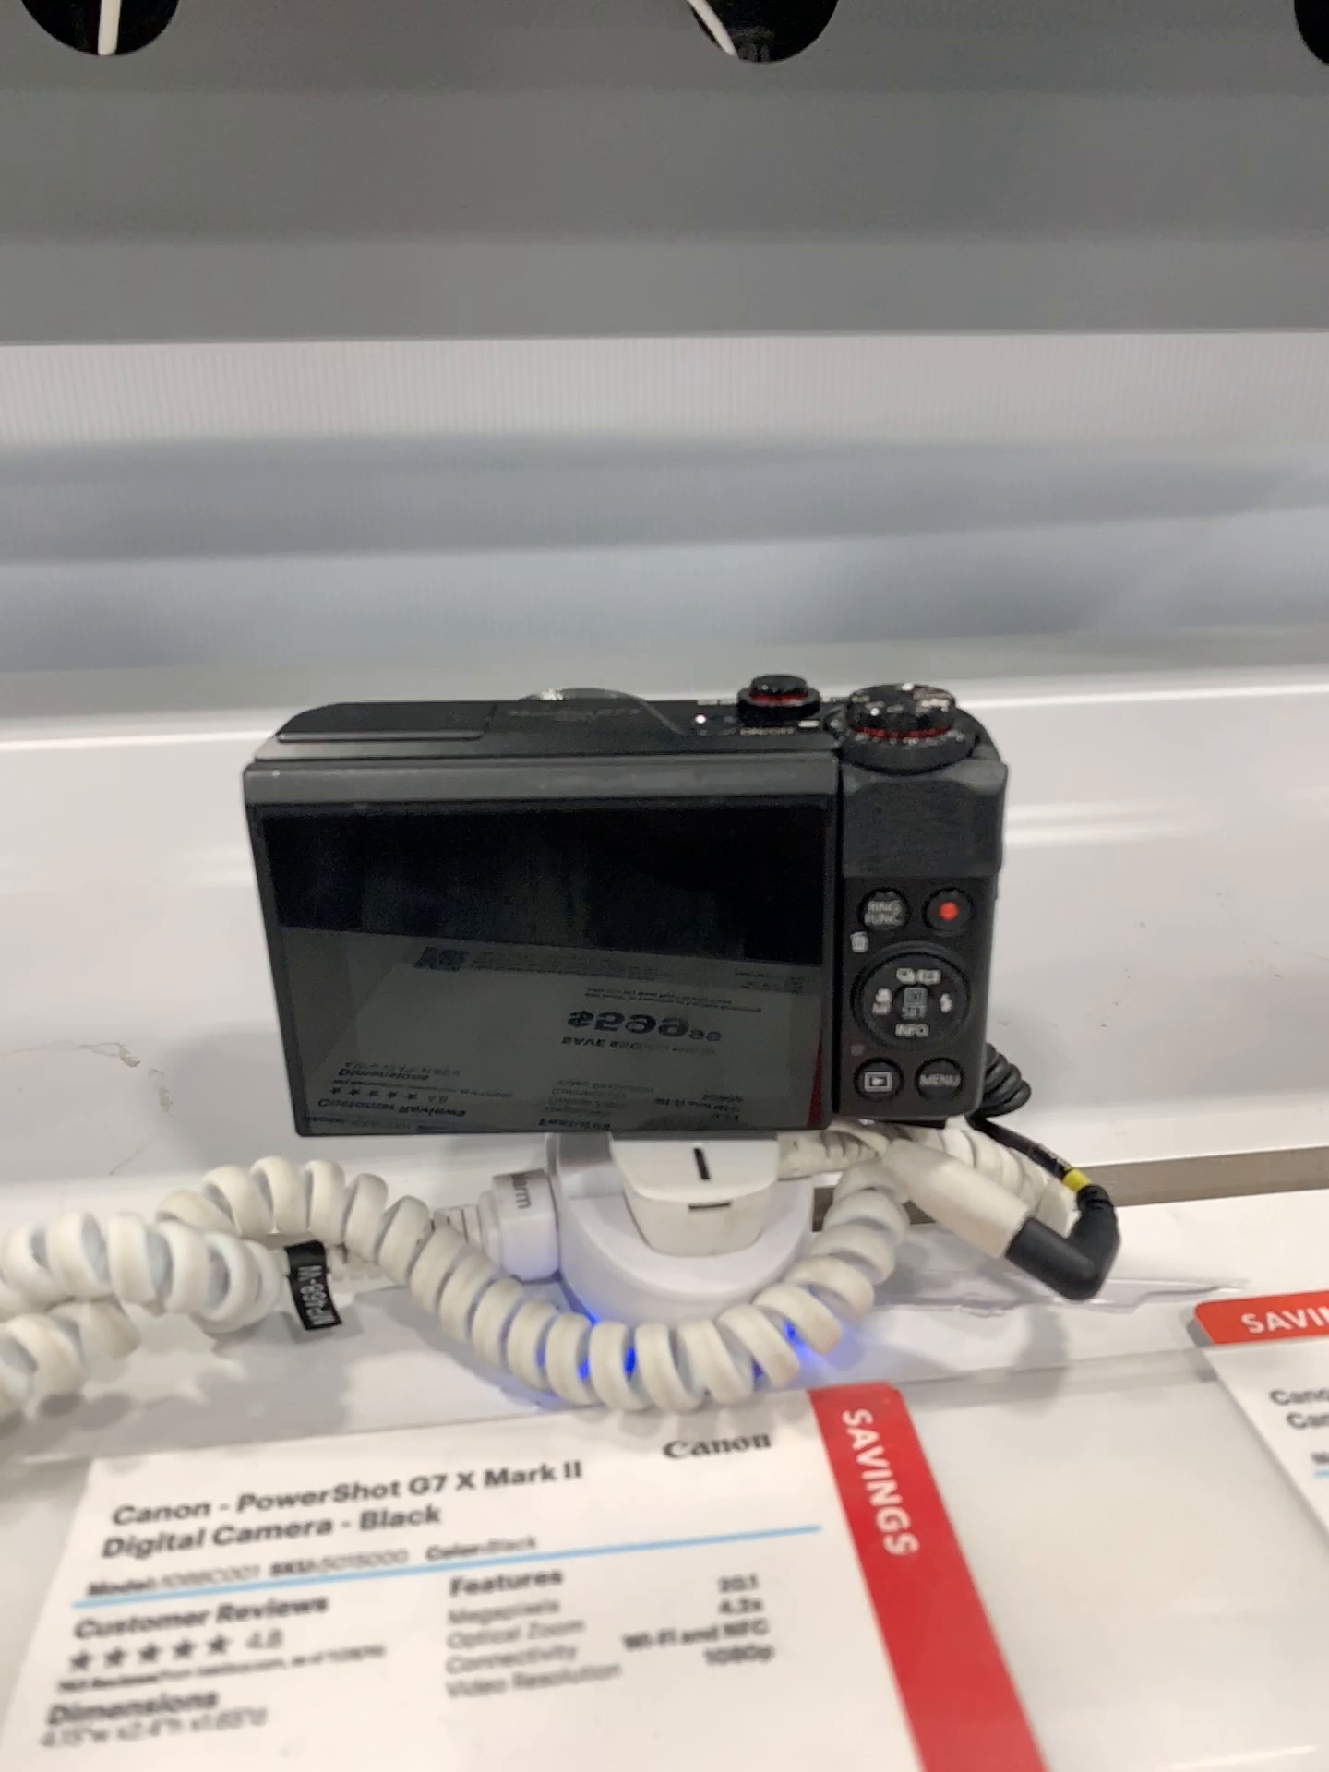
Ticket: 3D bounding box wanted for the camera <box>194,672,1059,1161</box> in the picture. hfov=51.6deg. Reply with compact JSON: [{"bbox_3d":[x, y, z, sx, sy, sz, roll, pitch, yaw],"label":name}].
[{"bbox_3d":[-0.005,0.003,0.207,0.110,0.060,0.044,0,23,-1],"label":"camera"}]
